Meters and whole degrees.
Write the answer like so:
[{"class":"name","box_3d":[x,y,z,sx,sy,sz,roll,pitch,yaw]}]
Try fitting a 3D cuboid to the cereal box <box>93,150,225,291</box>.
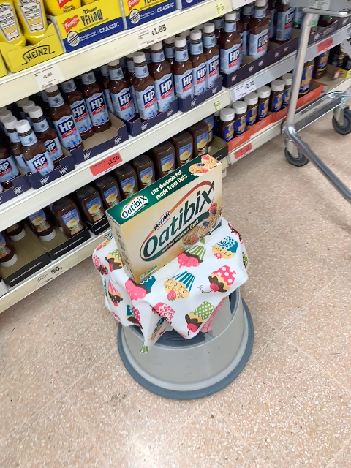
[{"class":"cereal box","box_3d":[-0.016,-0.030,0.748,0.281,0.168,0.060,-36,53,-23]}]
